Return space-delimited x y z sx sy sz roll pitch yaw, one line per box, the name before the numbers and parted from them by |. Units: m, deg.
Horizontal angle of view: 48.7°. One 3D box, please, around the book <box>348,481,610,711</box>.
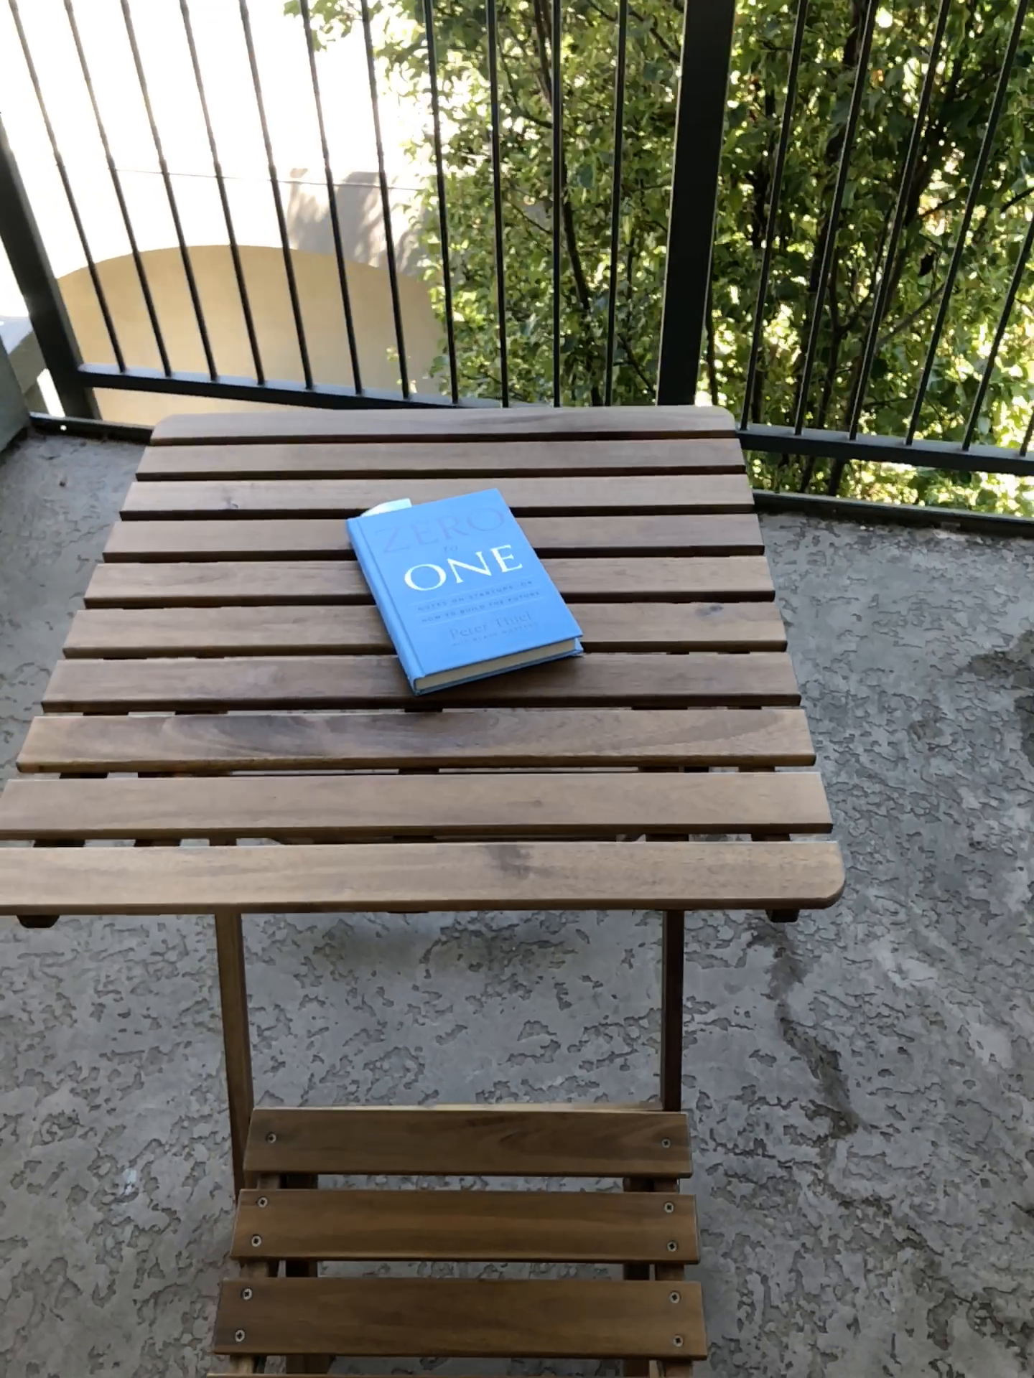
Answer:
book | -0.038 -0.088 0.978 0.160 0.030 0.221 -15 47 -13
